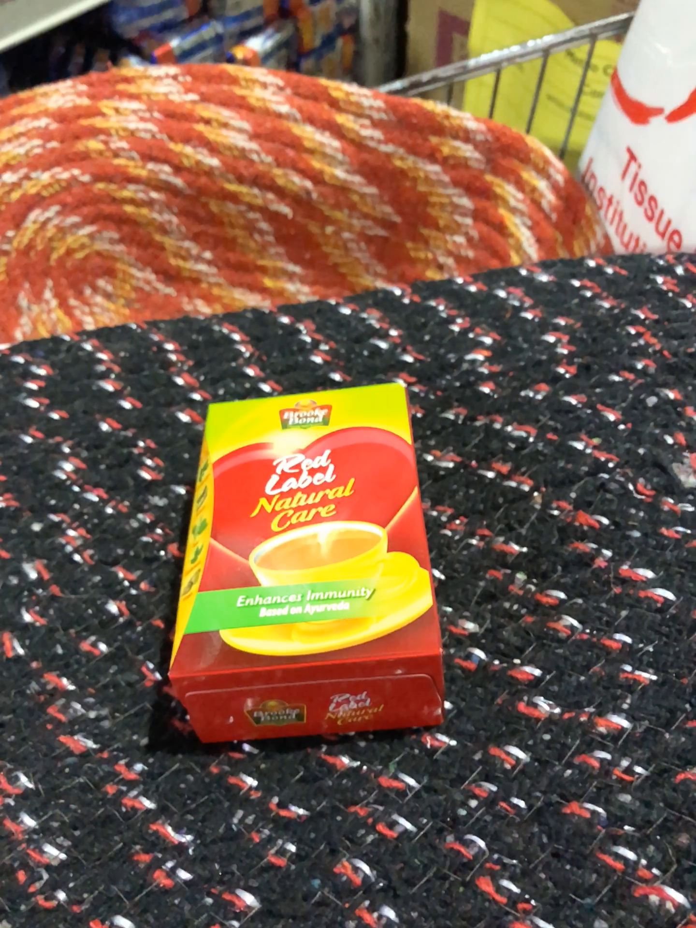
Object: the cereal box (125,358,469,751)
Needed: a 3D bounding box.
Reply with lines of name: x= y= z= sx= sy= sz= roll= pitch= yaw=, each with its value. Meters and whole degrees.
cereal box: x=-0.013 y=0.021 z=0.234 sx=0.080 sy=0.040 sz=0.111 roll=-4 pitch=46 yaw=1
